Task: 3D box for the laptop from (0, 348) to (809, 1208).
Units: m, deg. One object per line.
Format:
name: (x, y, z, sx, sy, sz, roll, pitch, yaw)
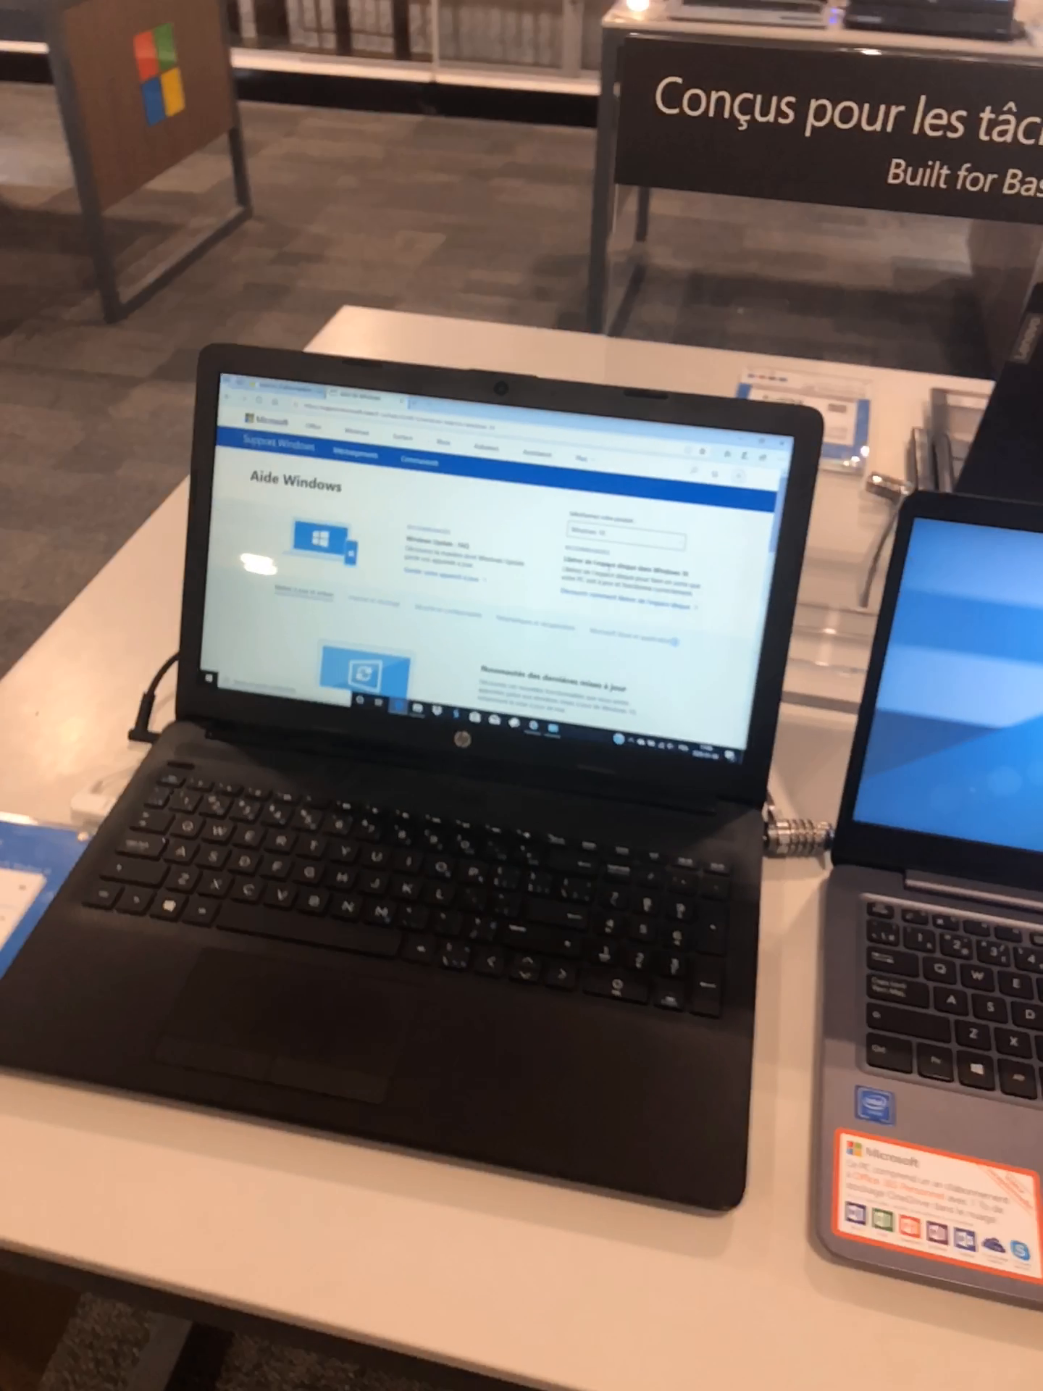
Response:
laptop: (-0.053, 0.002, 0.587, 0.356, 0.195, 0.361, 8, 40, 9)
